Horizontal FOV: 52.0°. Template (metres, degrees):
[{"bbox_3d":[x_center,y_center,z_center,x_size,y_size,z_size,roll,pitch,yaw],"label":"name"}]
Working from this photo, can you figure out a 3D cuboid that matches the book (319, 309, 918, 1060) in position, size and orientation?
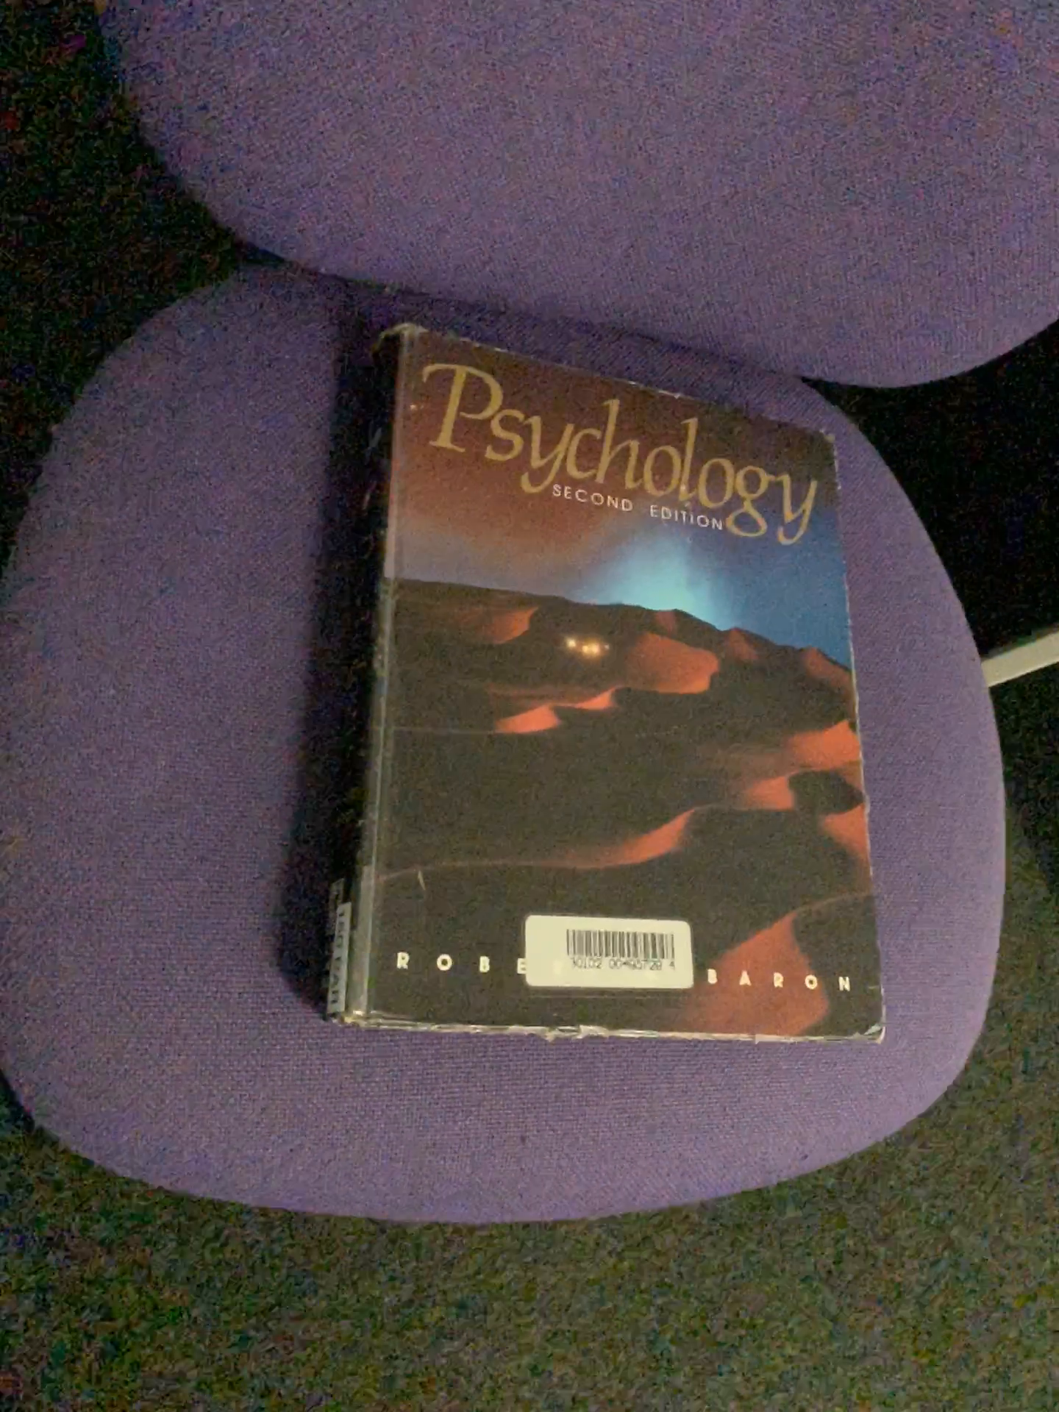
[{"bbox_3d":[0.045,-0.005,0.450,0.231,0.040,0.281,9,72,-19],"label":"book"}]
